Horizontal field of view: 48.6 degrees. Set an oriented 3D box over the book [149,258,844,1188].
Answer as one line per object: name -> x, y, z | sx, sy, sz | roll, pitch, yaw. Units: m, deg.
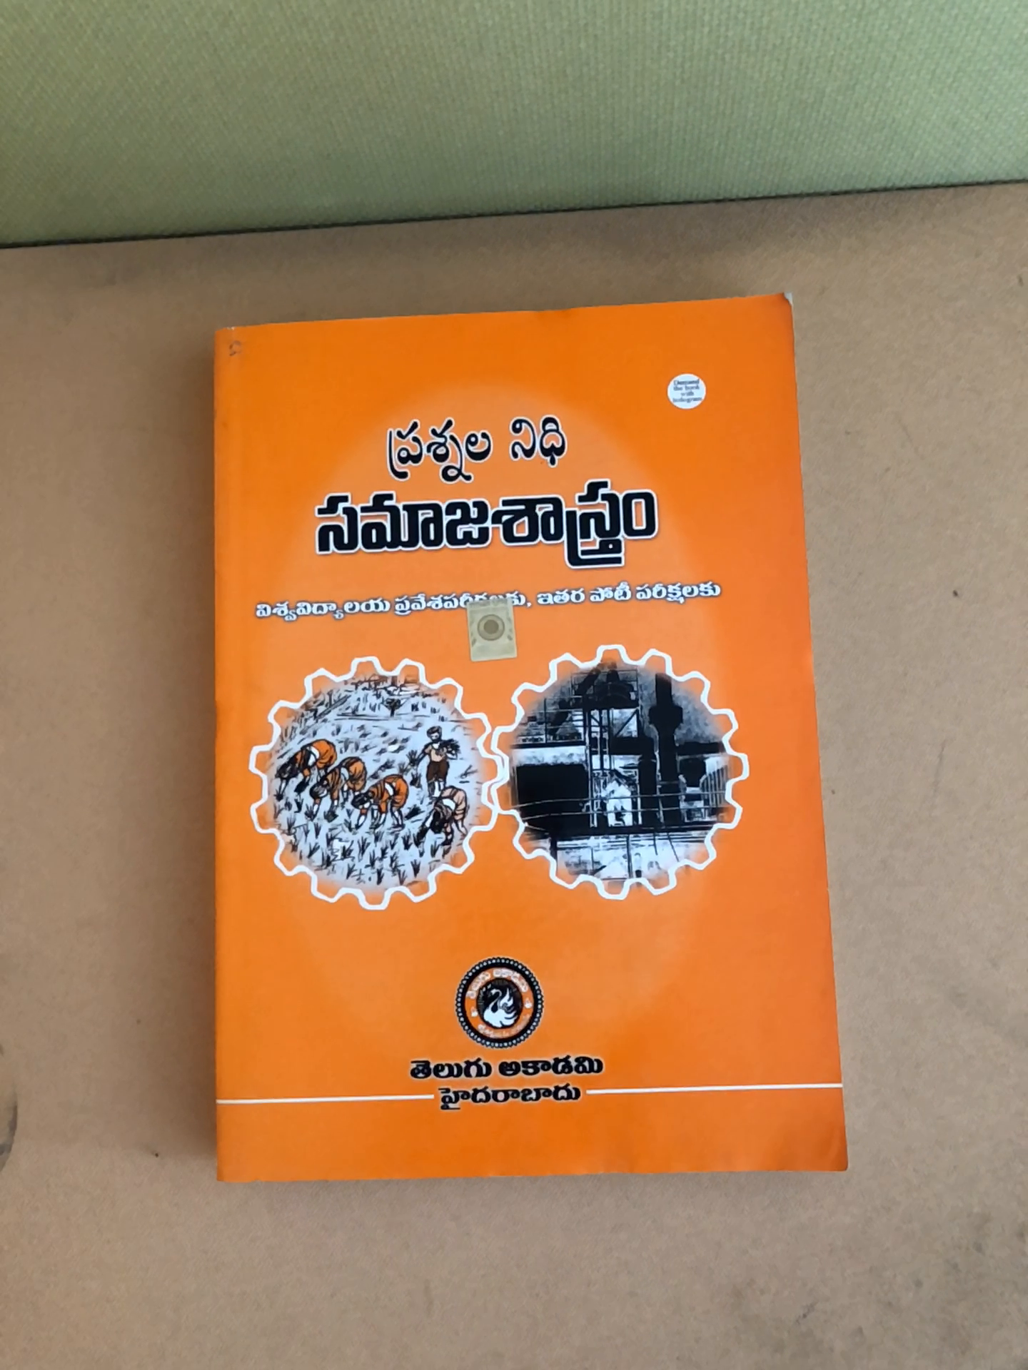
book -> -0.010, 0.010, 0.388 | 0.210, 0.050, 0.290 | -2, 82, 3
